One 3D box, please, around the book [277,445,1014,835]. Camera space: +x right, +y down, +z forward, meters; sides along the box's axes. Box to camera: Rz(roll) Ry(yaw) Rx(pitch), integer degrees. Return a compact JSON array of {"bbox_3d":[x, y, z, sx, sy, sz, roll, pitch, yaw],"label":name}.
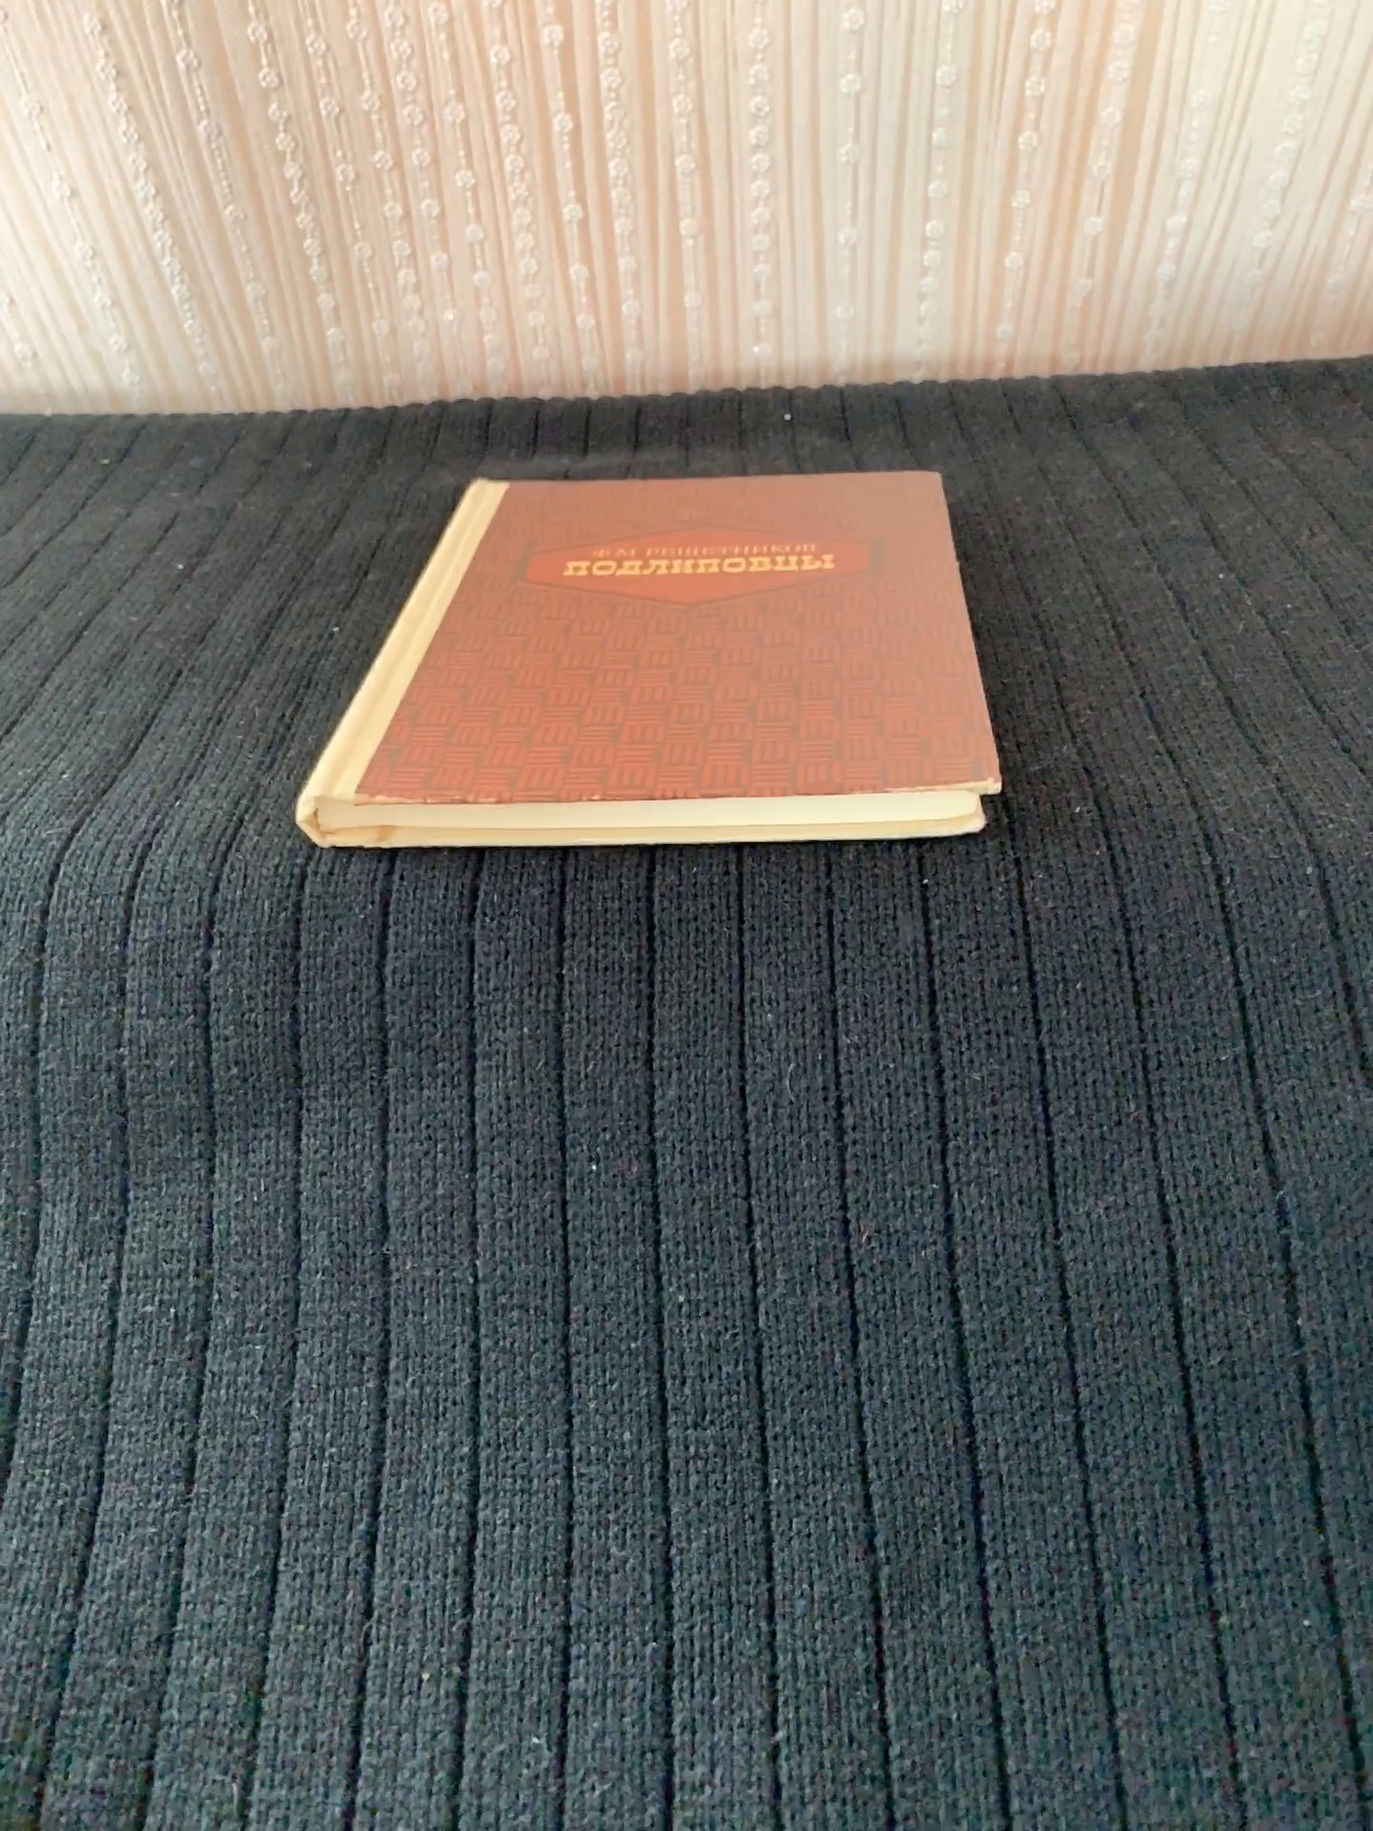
[{"bbox_3d":[-0.003,-0.072,0.326,0.129,0.015,0.178,0,35,4],"label":"book"}]
